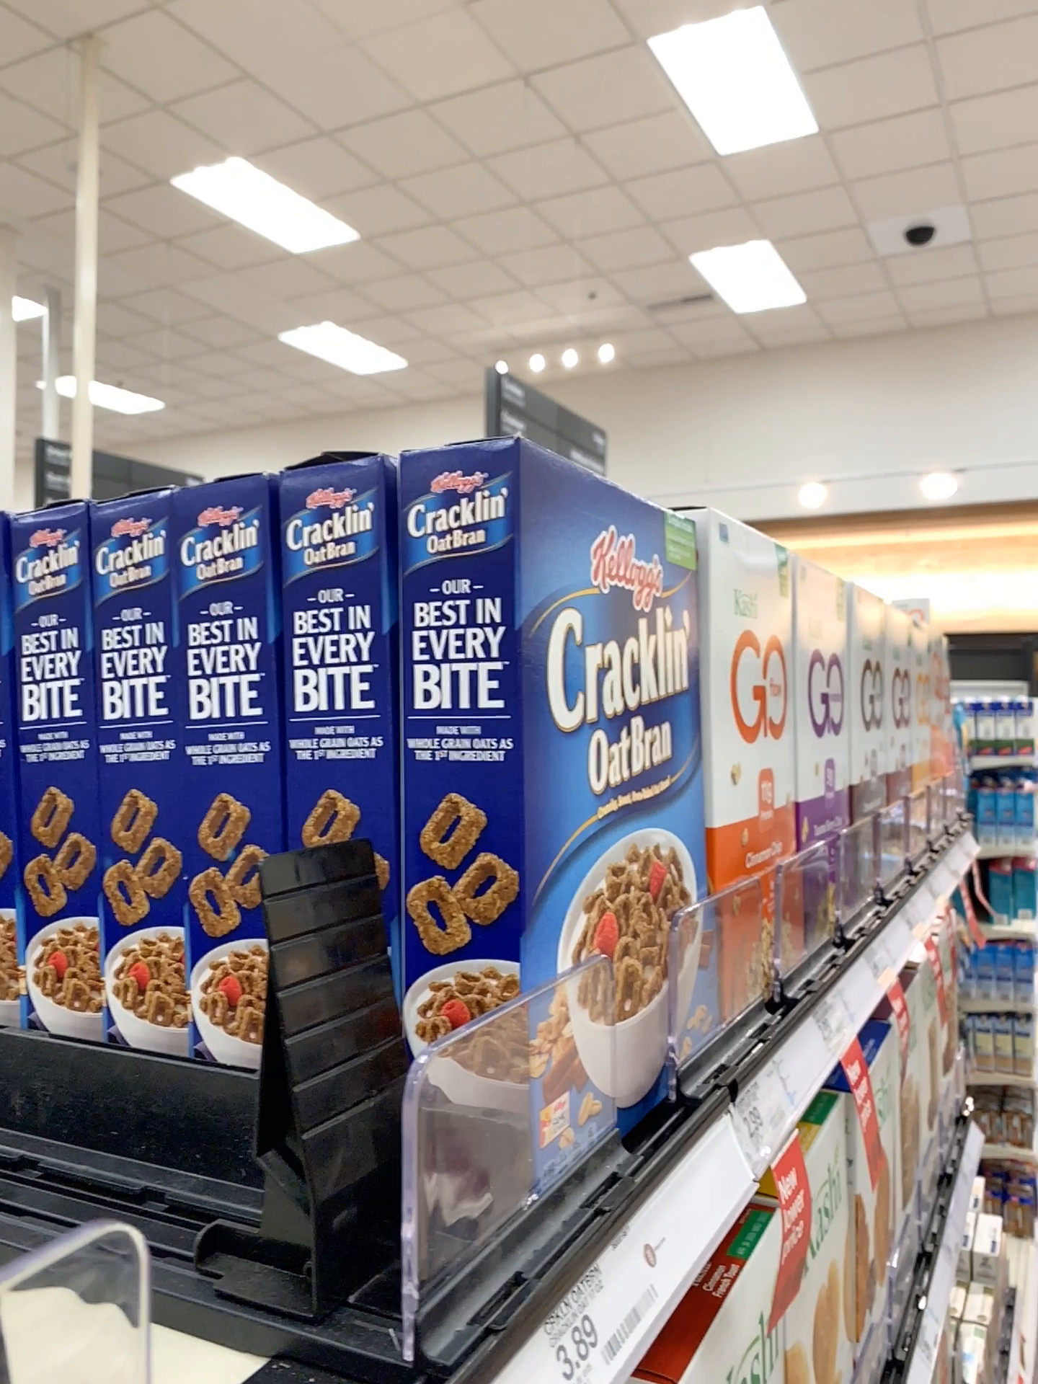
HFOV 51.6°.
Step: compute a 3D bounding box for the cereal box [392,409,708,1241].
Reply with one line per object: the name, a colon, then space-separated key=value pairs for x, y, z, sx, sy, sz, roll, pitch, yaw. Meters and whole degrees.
cereal box: x=0.023 y=0.039 z=0.408 sx=0.050 sy=0.240 sz=0.190 roll=-1 pitch=-2 yaw=23
